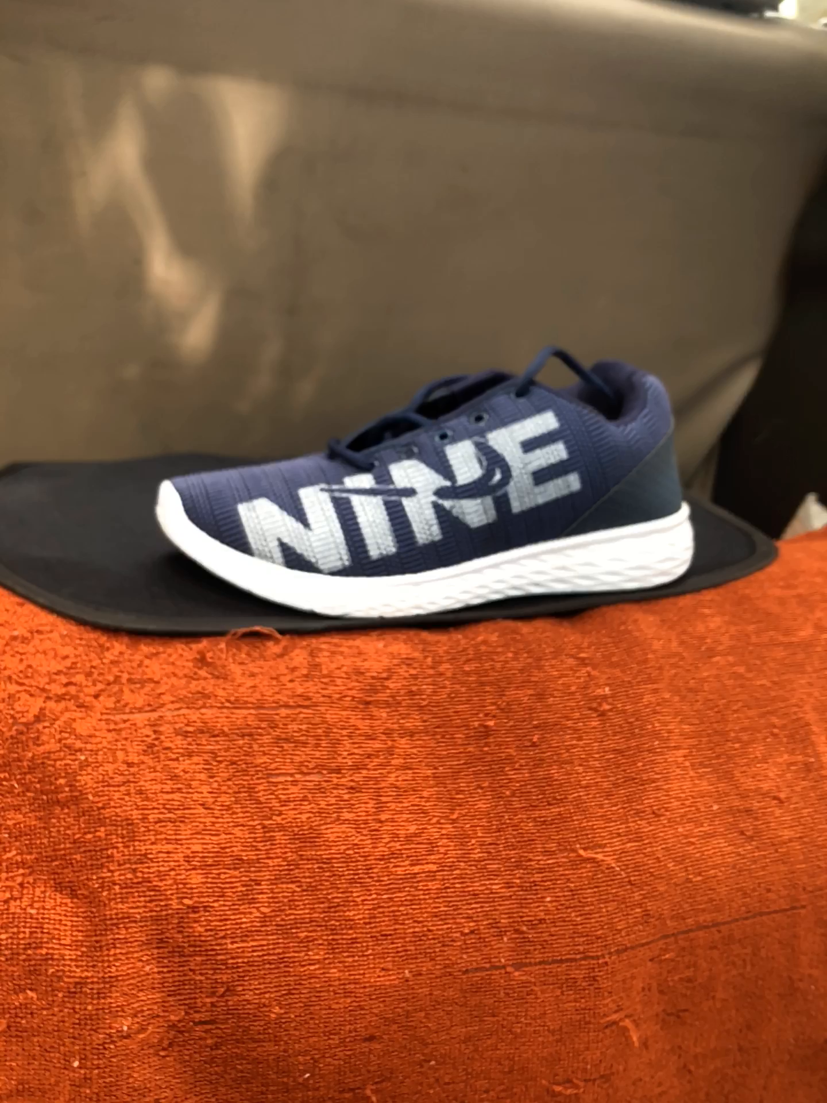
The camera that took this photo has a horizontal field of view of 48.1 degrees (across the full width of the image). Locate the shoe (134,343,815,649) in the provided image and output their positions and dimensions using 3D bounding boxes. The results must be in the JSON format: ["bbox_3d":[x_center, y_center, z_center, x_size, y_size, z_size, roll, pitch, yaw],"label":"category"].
[{"bbox_3d":[0.021,-0.041,0.447,0.291,0.100,0.130,-4,20,-16],"label":"shoe"}]
